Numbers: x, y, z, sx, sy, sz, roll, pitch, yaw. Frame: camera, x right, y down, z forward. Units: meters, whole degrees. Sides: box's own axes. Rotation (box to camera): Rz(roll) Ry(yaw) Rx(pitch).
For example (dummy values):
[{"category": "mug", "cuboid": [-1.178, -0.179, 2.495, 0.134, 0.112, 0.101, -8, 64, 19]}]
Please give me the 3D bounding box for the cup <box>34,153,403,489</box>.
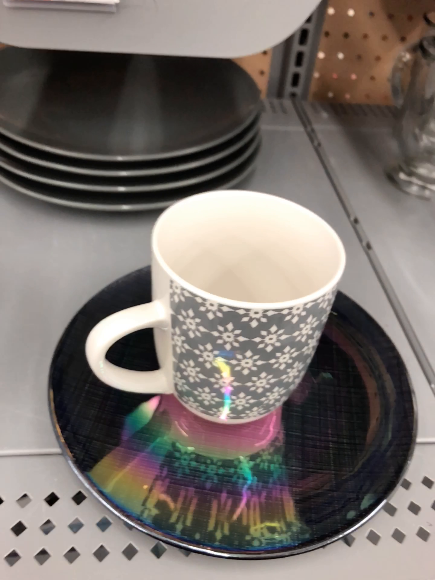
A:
[{"category": "cup", "cuboid": [-0.005, 0.008, 0.241, 0.129, 0.096, 0.094, -16, 47, -23]}]
